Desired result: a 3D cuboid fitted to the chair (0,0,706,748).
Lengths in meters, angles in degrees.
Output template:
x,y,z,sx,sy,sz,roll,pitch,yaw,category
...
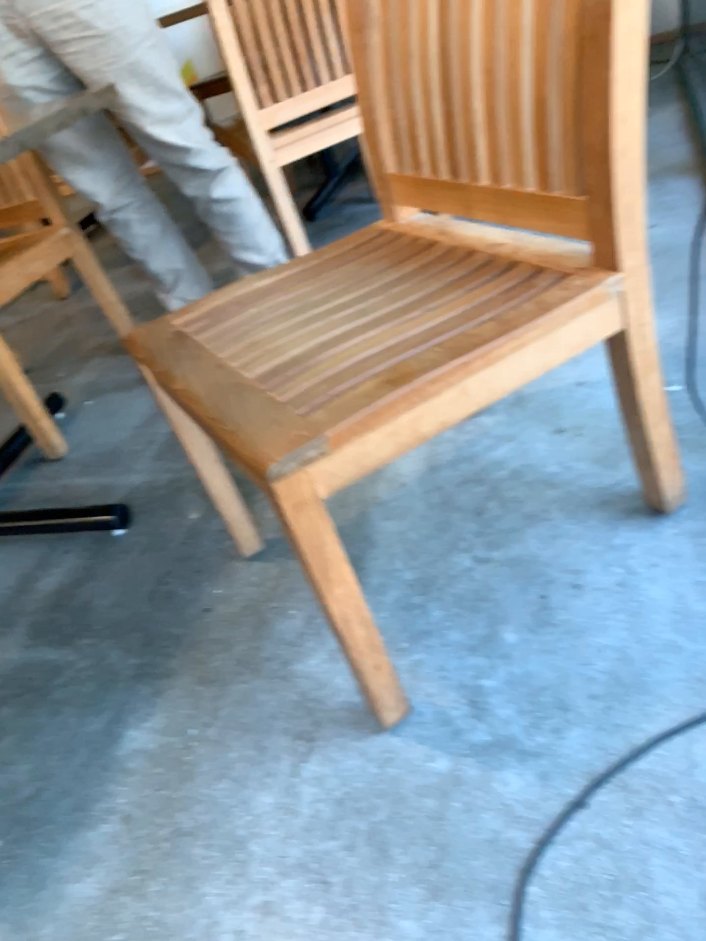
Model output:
x,y,z,sx,sy,sz,roll,pitch,yaw,category
0.011,-0.281,0.896,0.610,0.915,0.533,-31,36,-16,chair
